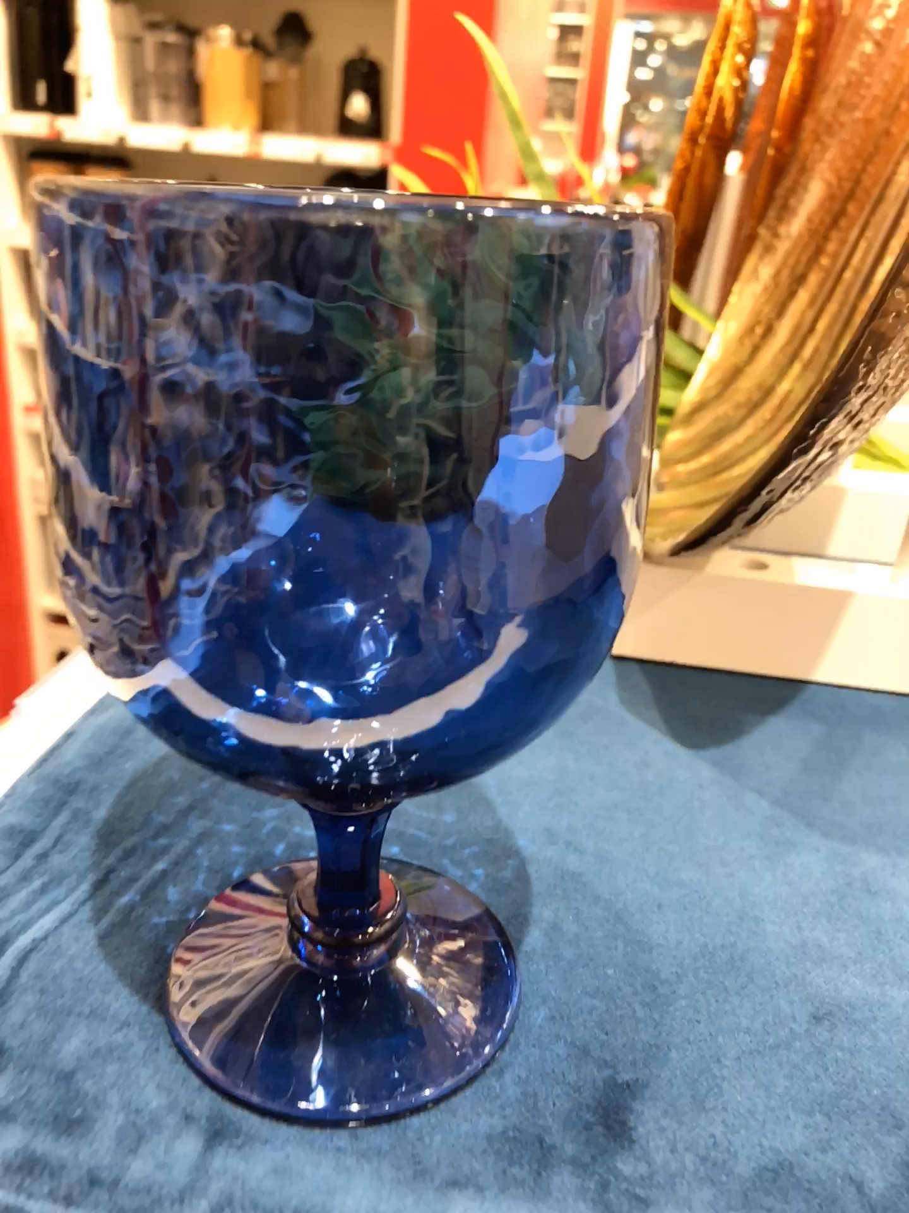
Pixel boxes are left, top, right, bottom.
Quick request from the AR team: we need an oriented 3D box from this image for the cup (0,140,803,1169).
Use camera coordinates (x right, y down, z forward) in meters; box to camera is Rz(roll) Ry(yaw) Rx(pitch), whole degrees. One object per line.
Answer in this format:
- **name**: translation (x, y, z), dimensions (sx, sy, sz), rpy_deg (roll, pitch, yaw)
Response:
- **cup**: translation (-0.016, 0.004, 0.167), dimensions (0.090, 0.139, 0.080), rpy_deg (1, 23, -7)
